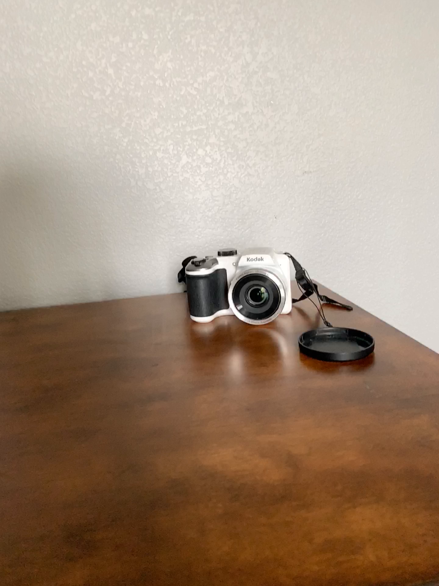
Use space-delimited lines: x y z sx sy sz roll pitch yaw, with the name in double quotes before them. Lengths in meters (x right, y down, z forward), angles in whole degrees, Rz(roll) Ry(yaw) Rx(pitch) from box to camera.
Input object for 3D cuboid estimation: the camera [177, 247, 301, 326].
"camera" 0.025 -0.009 0.506 0.119 0.071 0.070 0 13 19
